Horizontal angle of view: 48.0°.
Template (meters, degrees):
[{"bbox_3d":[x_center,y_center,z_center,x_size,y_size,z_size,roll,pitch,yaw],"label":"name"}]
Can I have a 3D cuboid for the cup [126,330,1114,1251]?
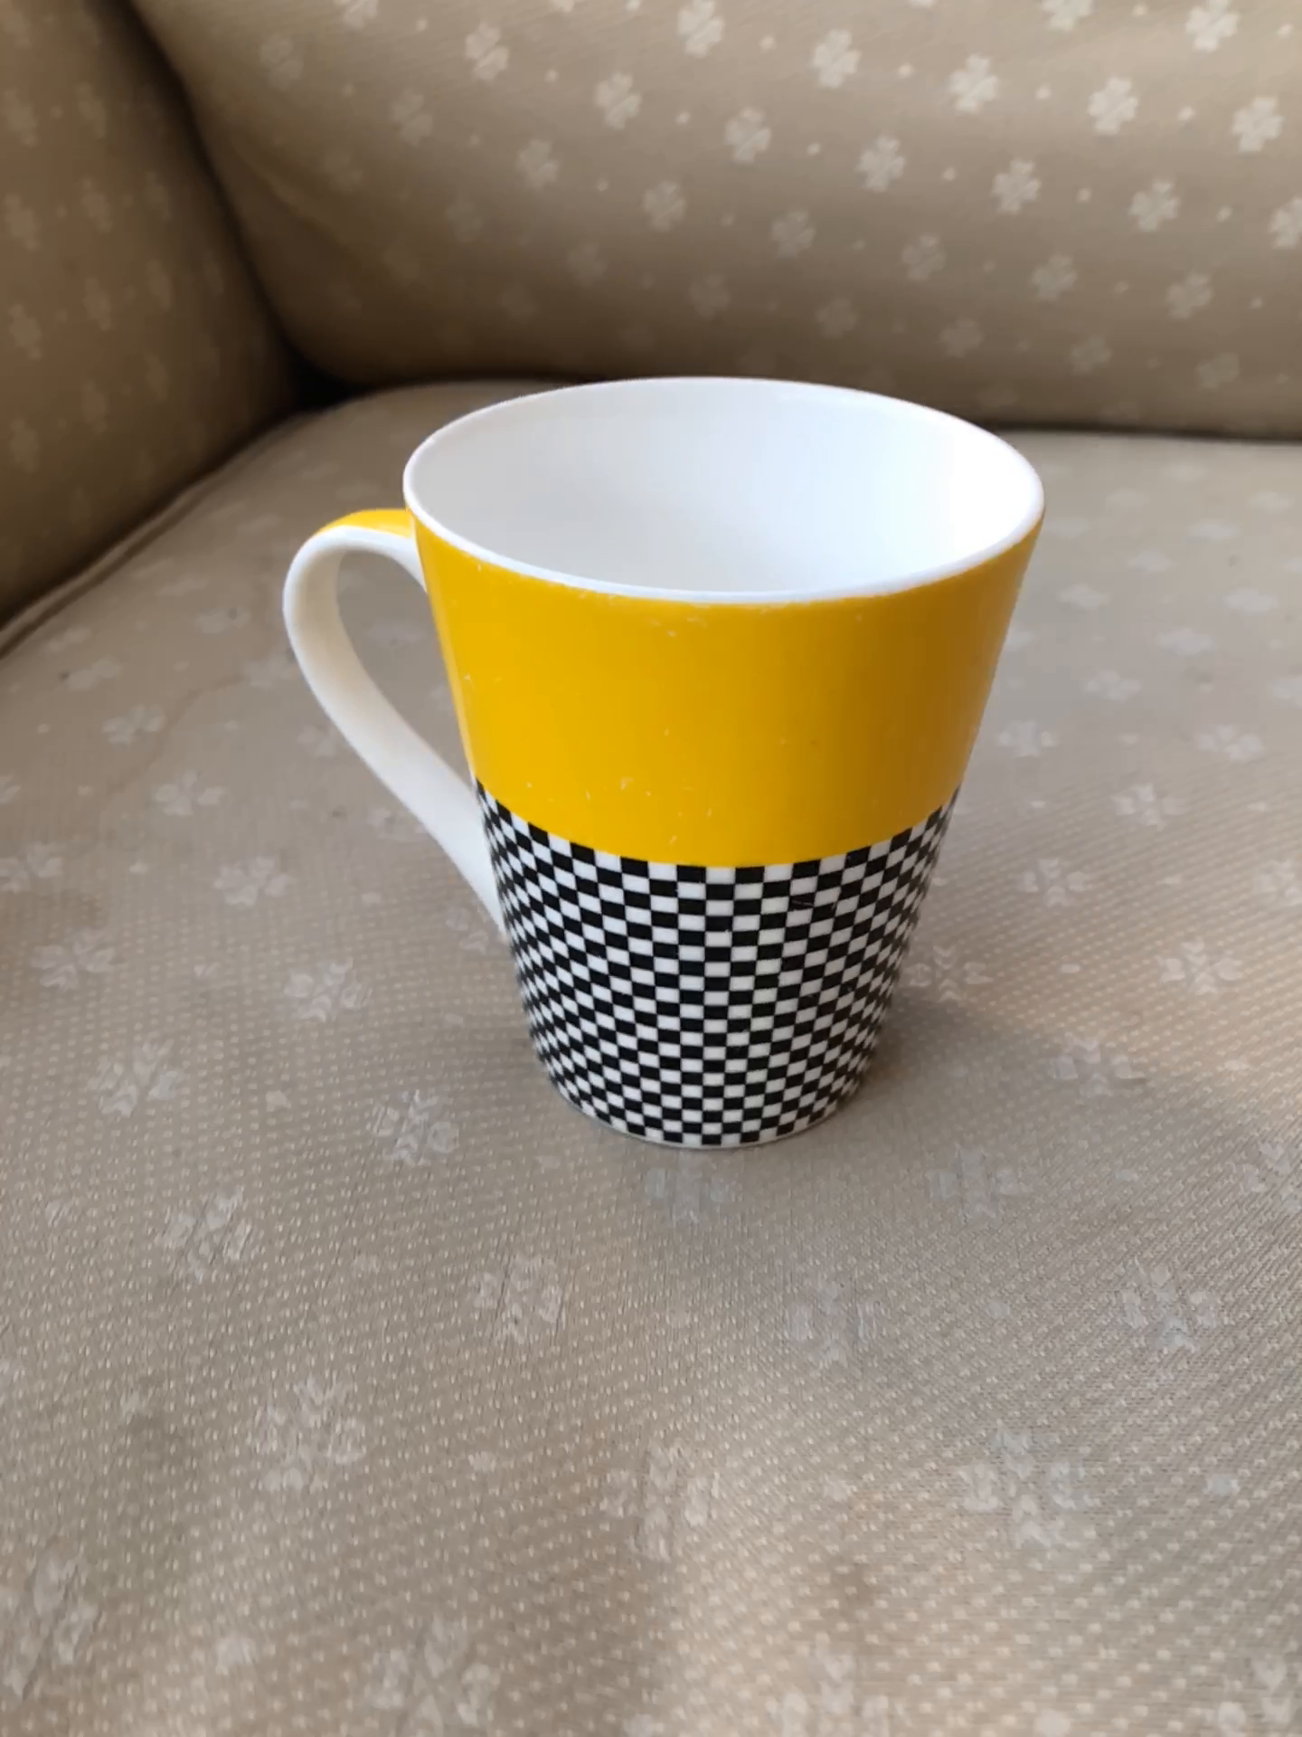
[{"bbox_3d":[0.001,-0.019,0.226,0.111,0.090,0.088,13,36,16],"label":"cup"}]
